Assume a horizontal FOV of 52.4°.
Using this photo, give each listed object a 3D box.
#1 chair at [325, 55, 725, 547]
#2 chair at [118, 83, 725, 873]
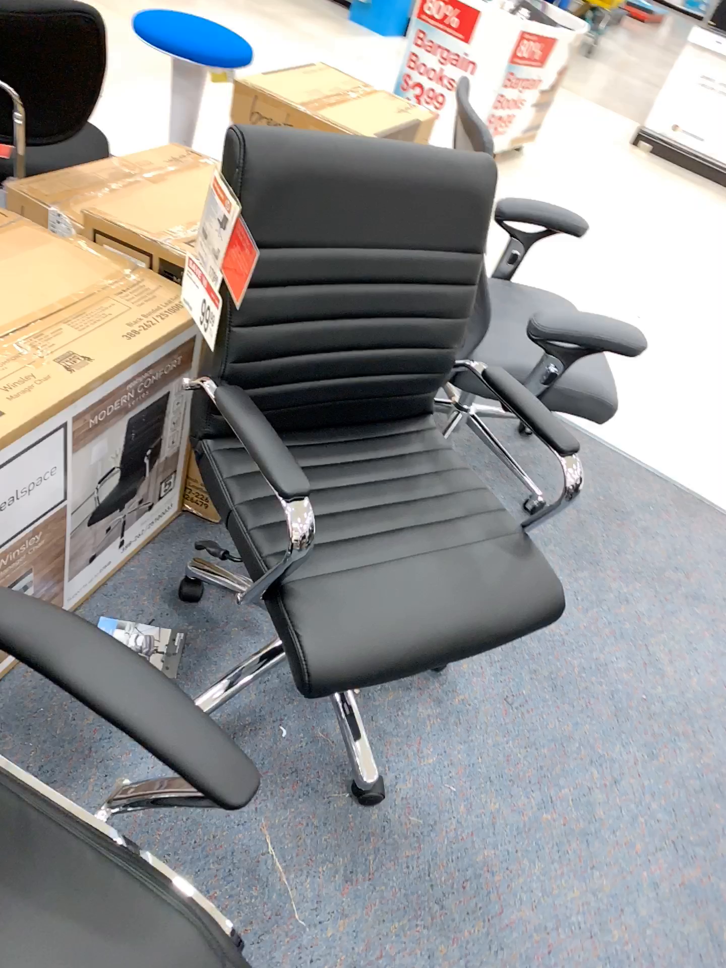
[{"bbox_3d":[0.369,-0.459,1.950,0.719,0.874,0.738,12,41,-11],"label":"chair"},{"bbox_3d":[0.036,0.014,1.221,0.655,0.953,0.651,-8,48,-30],"label":"chair"}]
